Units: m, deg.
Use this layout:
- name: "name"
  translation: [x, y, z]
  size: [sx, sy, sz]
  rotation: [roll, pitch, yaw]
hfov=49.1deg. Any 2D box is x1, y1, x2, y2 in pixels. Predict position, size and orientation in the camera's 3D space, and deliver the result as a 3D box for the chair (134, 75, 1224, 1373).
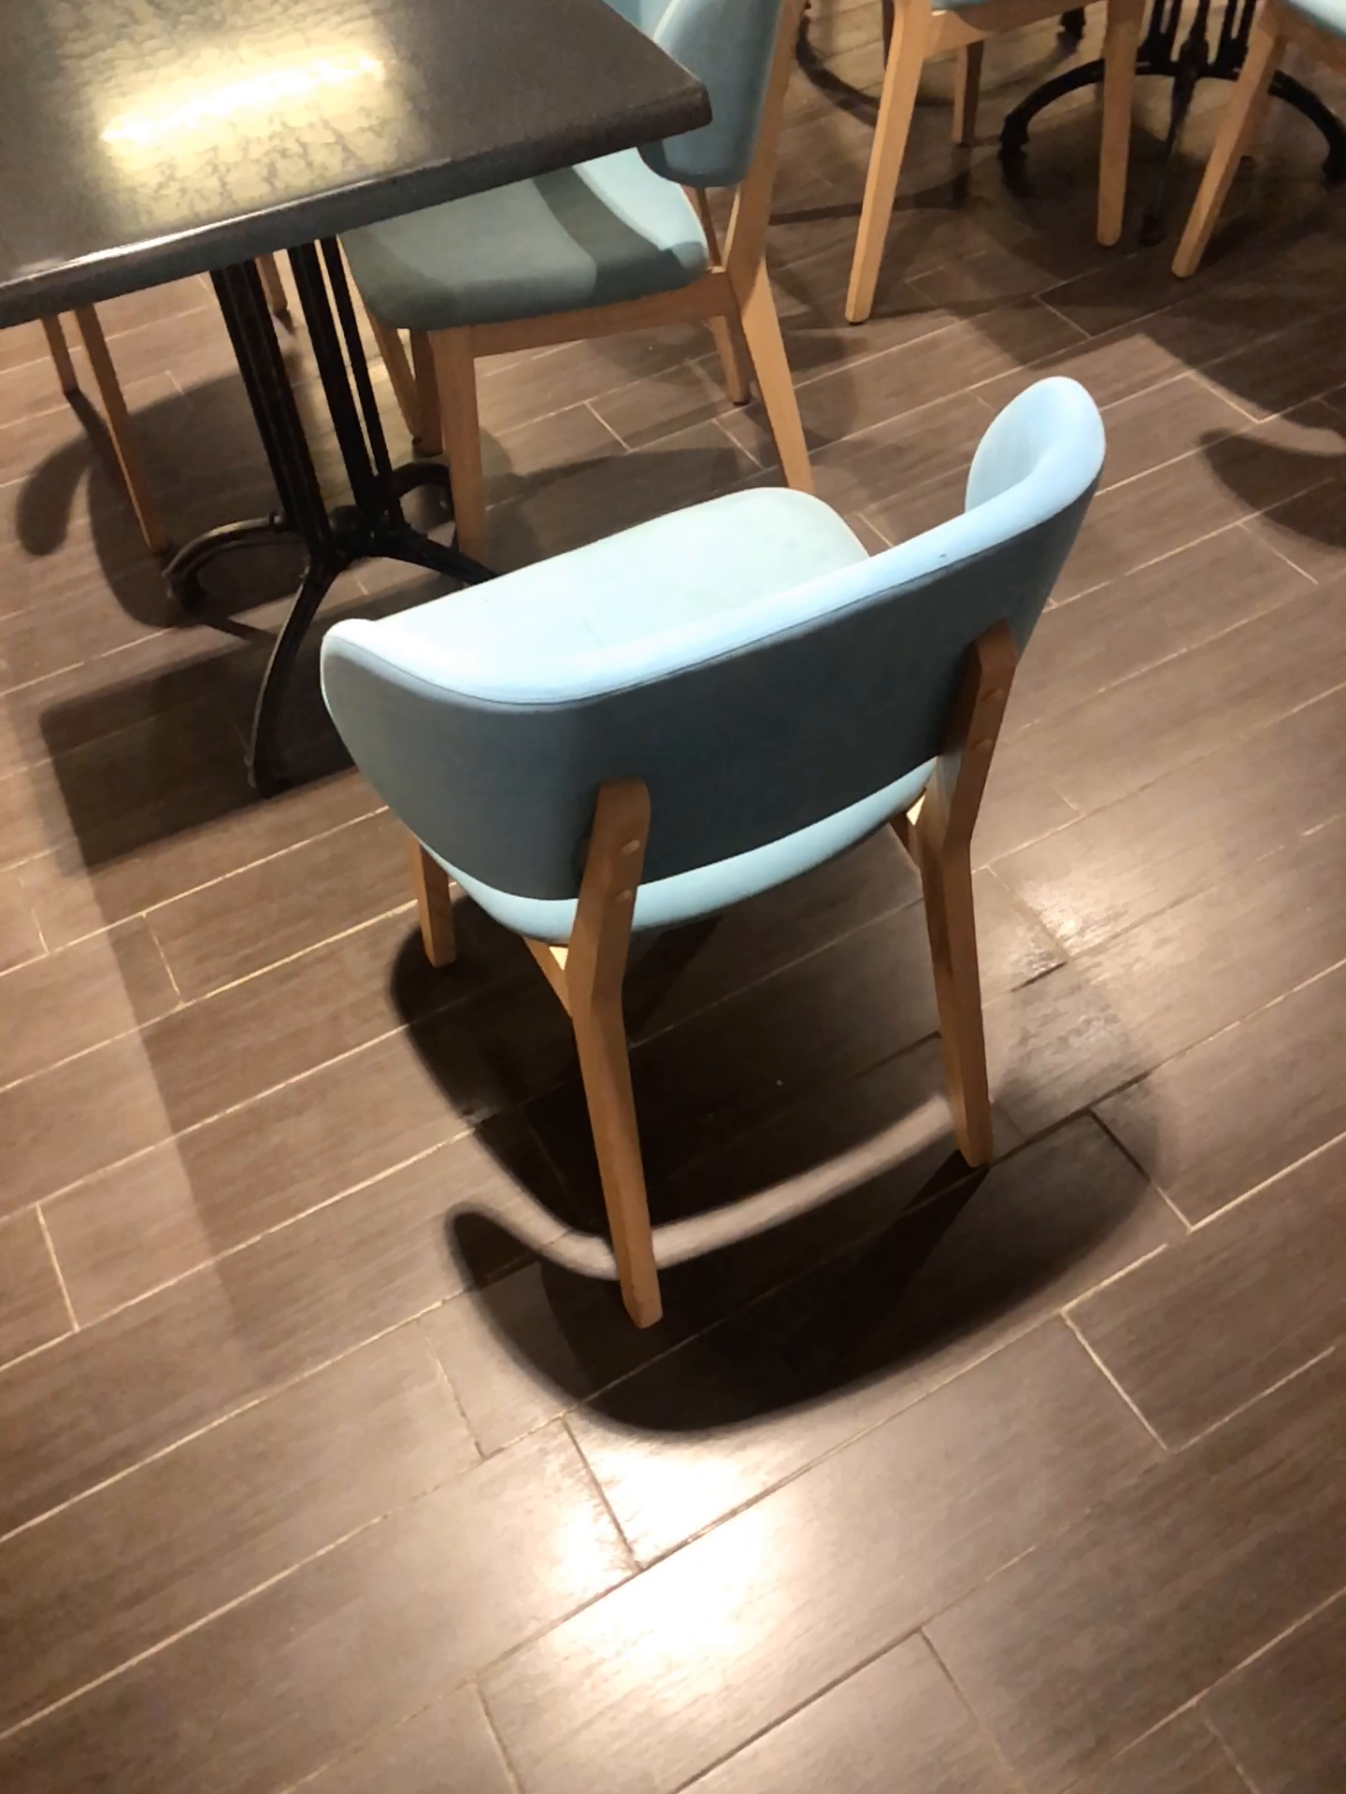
- name: "chair"
  translation: [-0.010, -0.089, 1.208]
  size: [0.480, 0.817, 0.511]
  rotation: [-23, 54, -14]
